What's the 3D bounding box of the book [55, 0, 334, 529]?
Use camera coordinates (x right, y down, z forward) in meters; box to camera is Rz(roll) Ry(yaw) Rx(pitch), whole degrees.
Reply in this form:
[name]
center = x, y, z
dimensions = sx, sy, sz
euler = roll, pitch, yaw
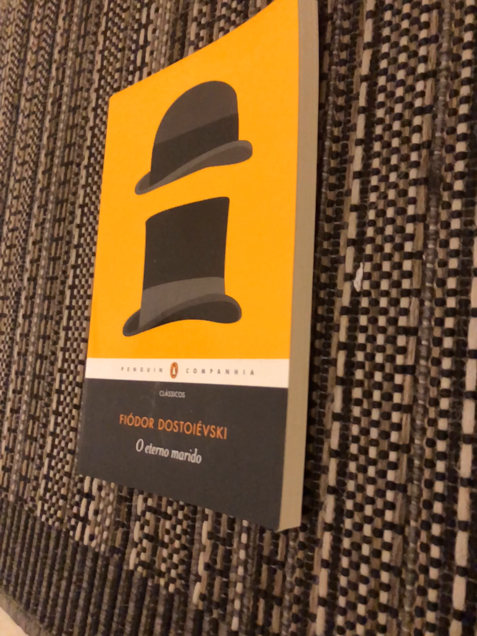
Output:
[book]
center = -0.025, -0.022, 0.221
dimensions = 0.131, 0.020, 0.180
euler = -4, 79, 42
